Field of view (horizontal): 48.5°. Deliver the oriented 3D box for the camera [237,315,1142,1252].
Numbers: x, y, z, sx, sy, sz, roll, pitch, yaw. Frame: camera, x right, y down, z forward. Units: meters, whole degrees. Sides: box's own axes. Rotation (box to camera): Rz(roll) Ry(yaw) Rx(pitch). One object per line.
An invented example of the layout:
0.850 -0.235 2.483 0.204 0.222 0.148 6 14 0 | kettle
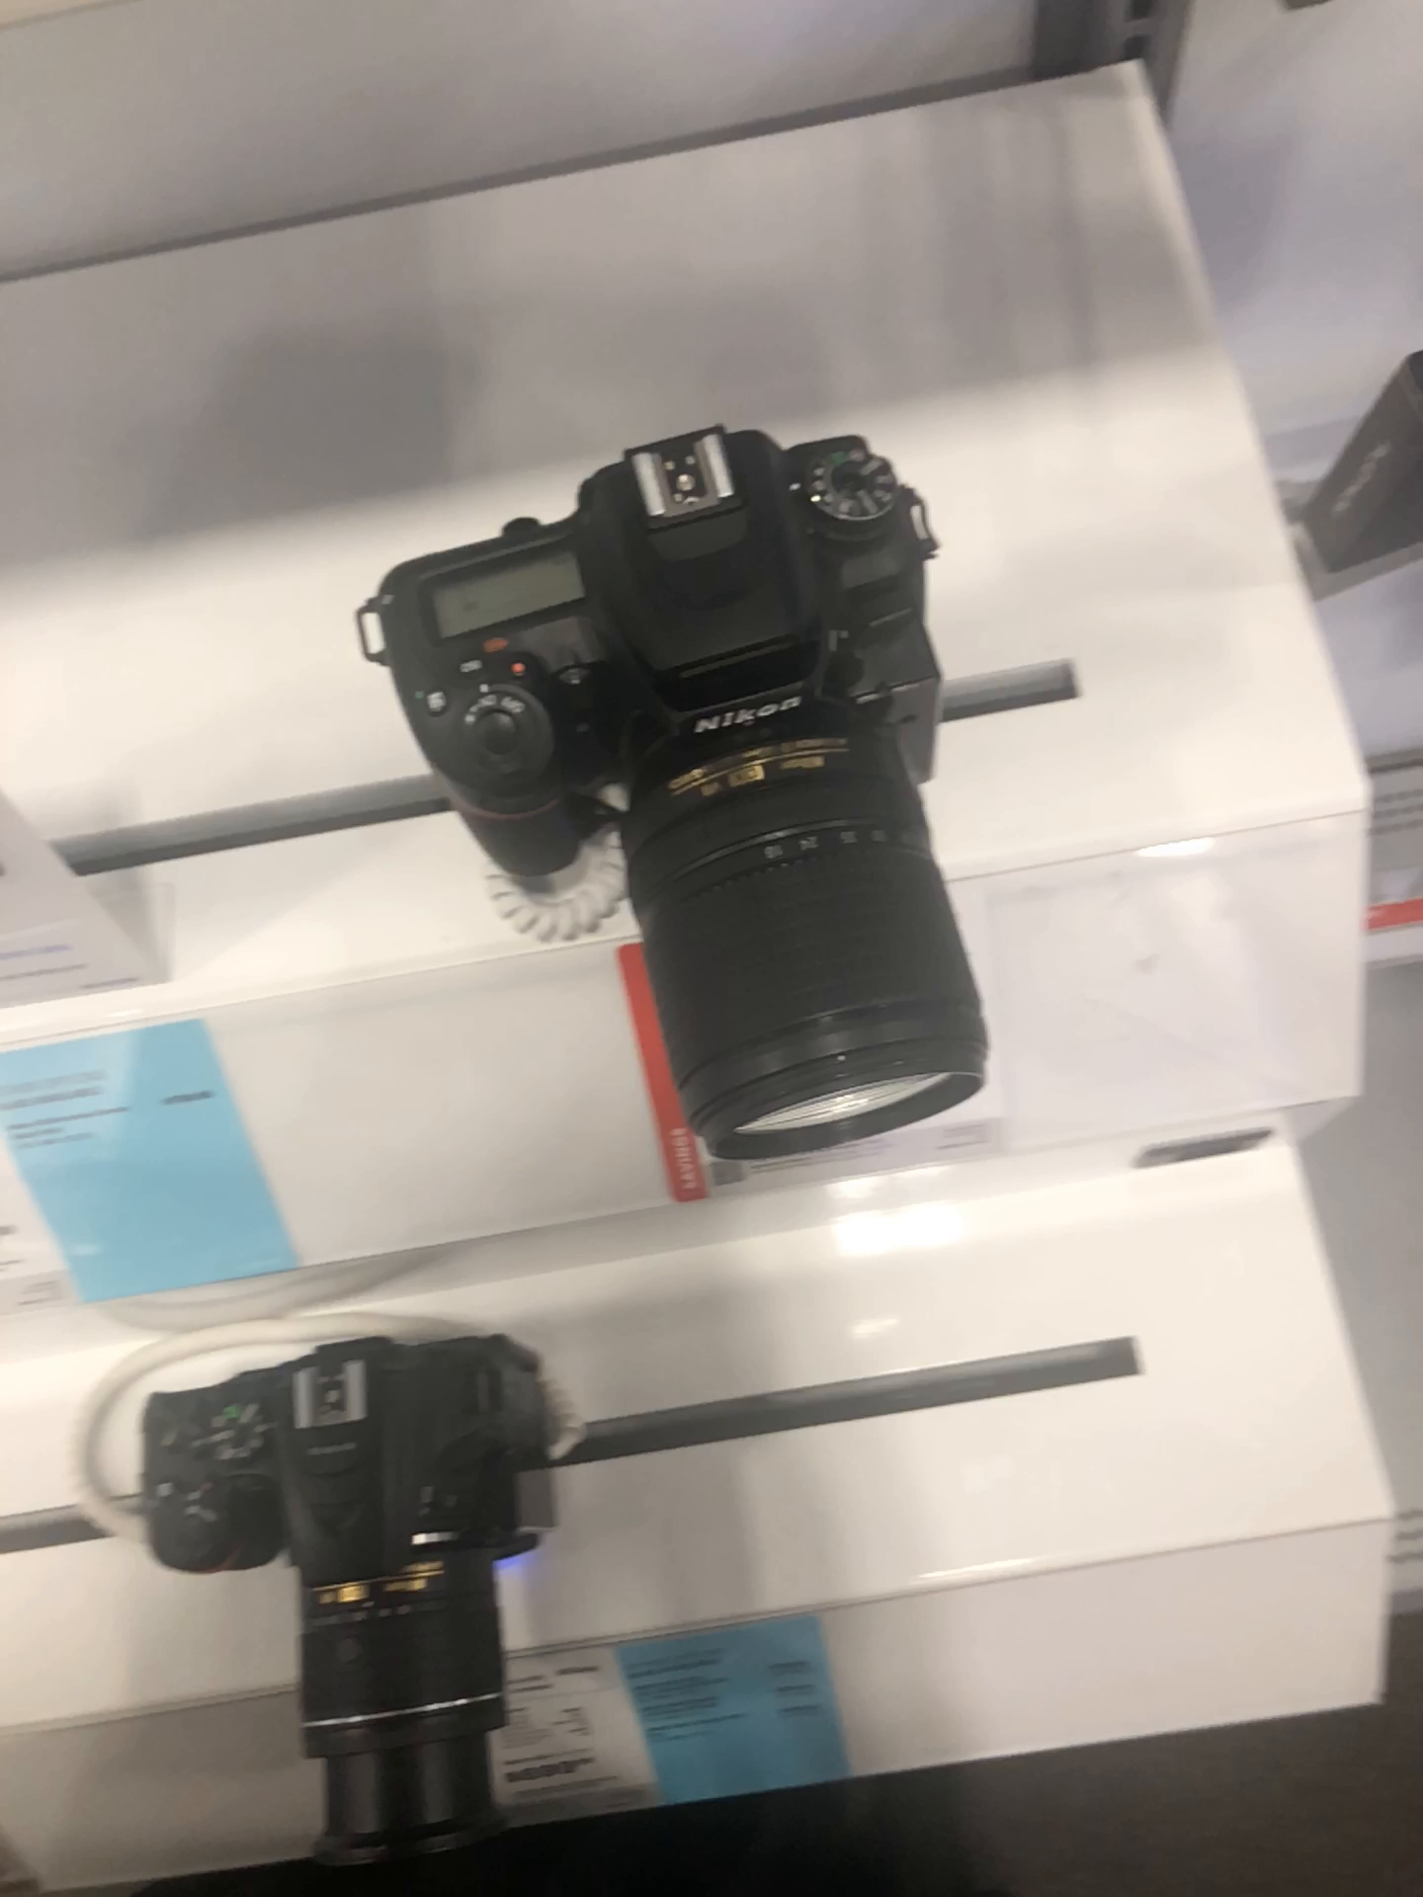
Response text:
-0.007 -0.033 0.383 0.160 0.110 0.160 -14 69 1 | camera
